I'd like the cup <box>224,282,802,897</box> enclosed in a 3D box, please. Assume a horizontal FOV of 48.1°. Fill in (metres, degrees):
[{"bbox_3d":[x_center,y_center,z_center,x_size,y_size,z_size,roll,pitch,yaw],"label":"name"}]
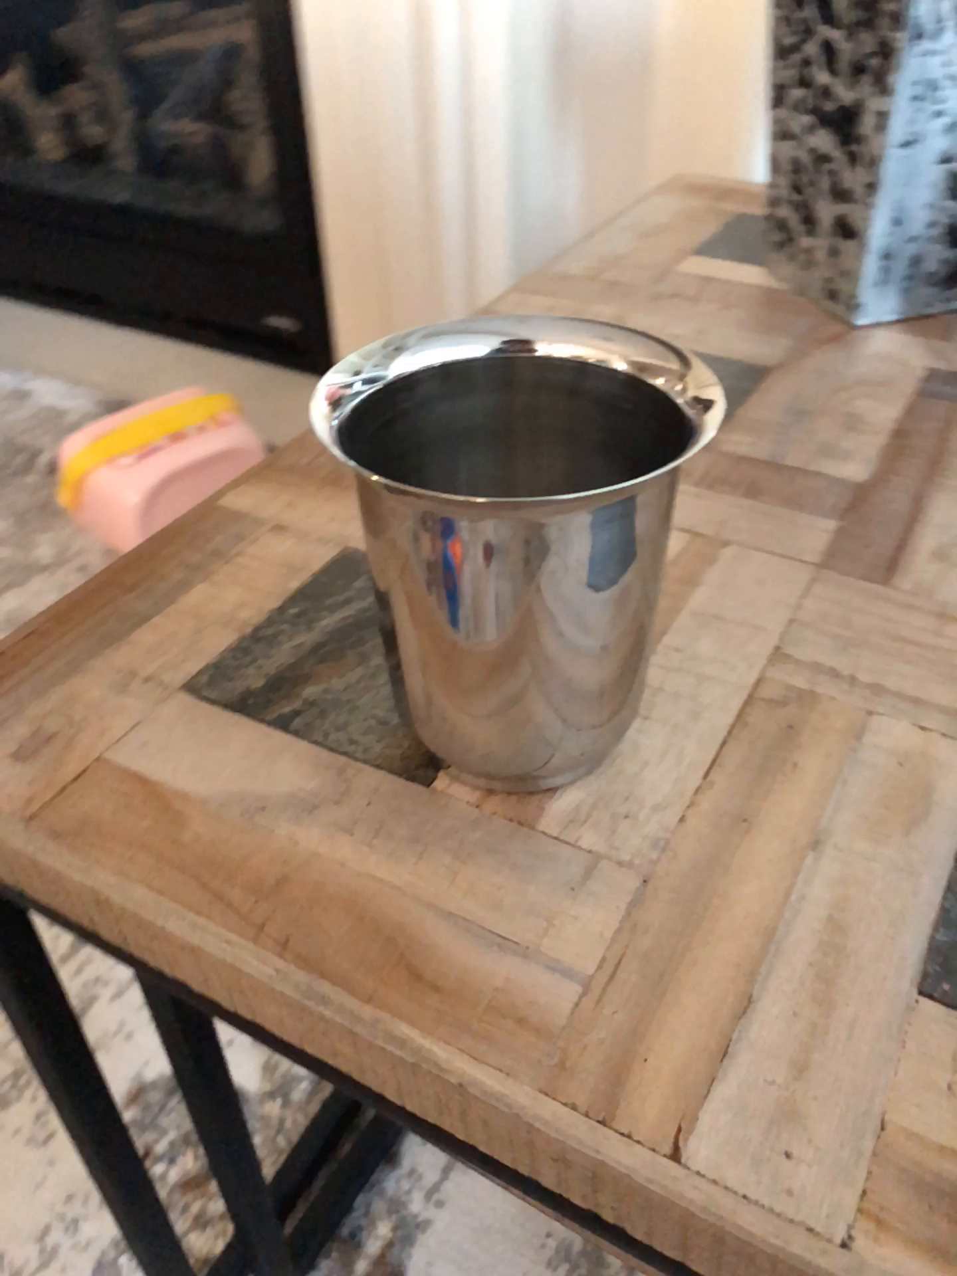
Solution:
[{"bbox_3d":[0.006,-0.016,0.243,0.084,0.088,0.083,-1,38,1],"label":"cup"}]
